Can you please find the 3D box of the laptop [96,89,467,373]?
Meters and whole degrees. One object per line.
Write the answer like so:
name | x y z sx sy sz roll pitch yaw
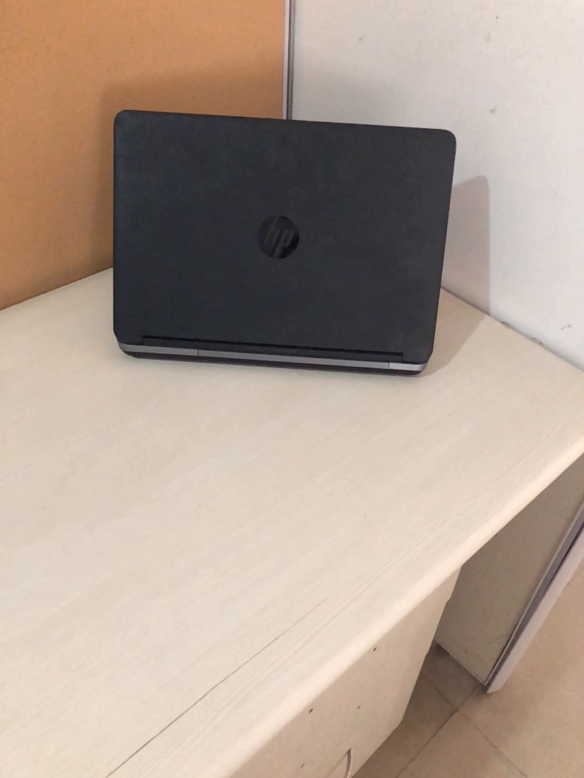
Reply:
laptop | -0.009 -0.177 0.696 0.318 0.192 0.229 4 42 0
